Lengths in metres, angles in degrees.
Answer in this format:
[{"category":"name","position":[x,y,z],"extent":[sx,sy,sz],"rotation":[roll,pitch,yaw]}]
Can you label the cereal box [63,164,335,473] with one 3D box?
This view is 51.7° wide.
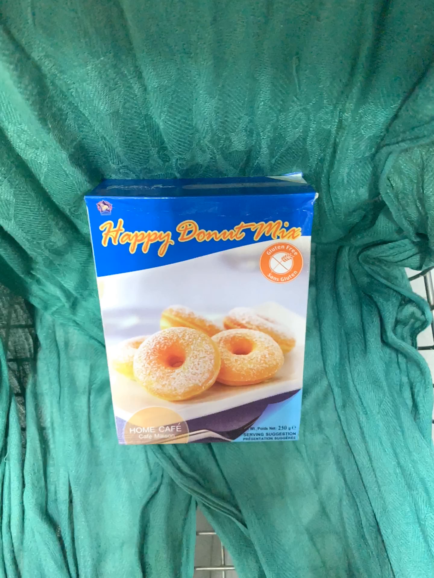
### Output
[{"category":"cereal box","position":[-0.007,0.021,0.278],"extent":[0.130,0.060,0.180],"rotation":[-2,114,-1]}]
